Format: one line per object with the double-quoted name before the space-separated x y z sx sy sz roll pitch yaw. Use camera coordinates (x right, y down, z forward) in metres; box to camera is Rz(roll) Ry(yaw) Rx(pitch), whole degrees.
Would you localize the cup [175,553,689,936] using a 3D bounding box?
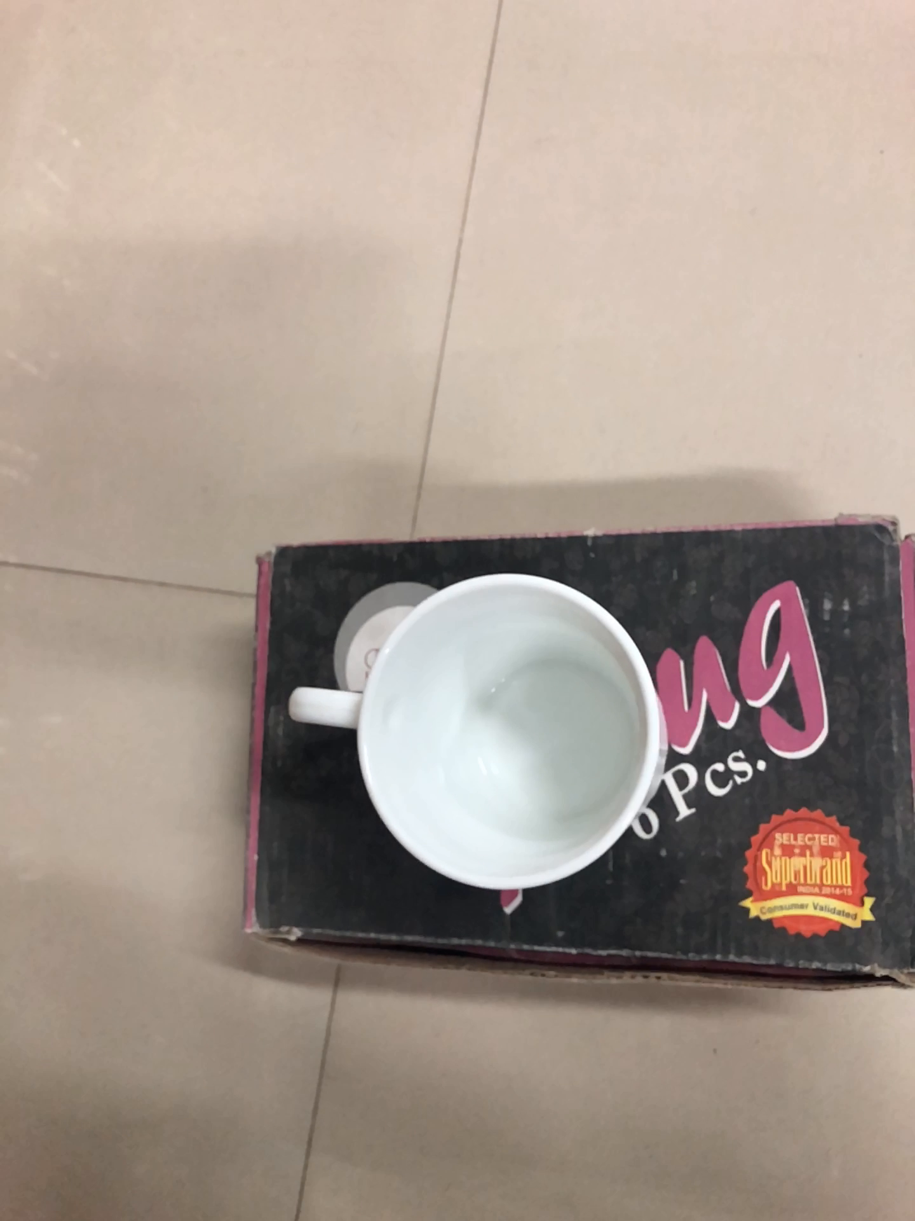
"cup" 0.002 0.037 0.304 0.120 0.100 0.080 6 83 16
